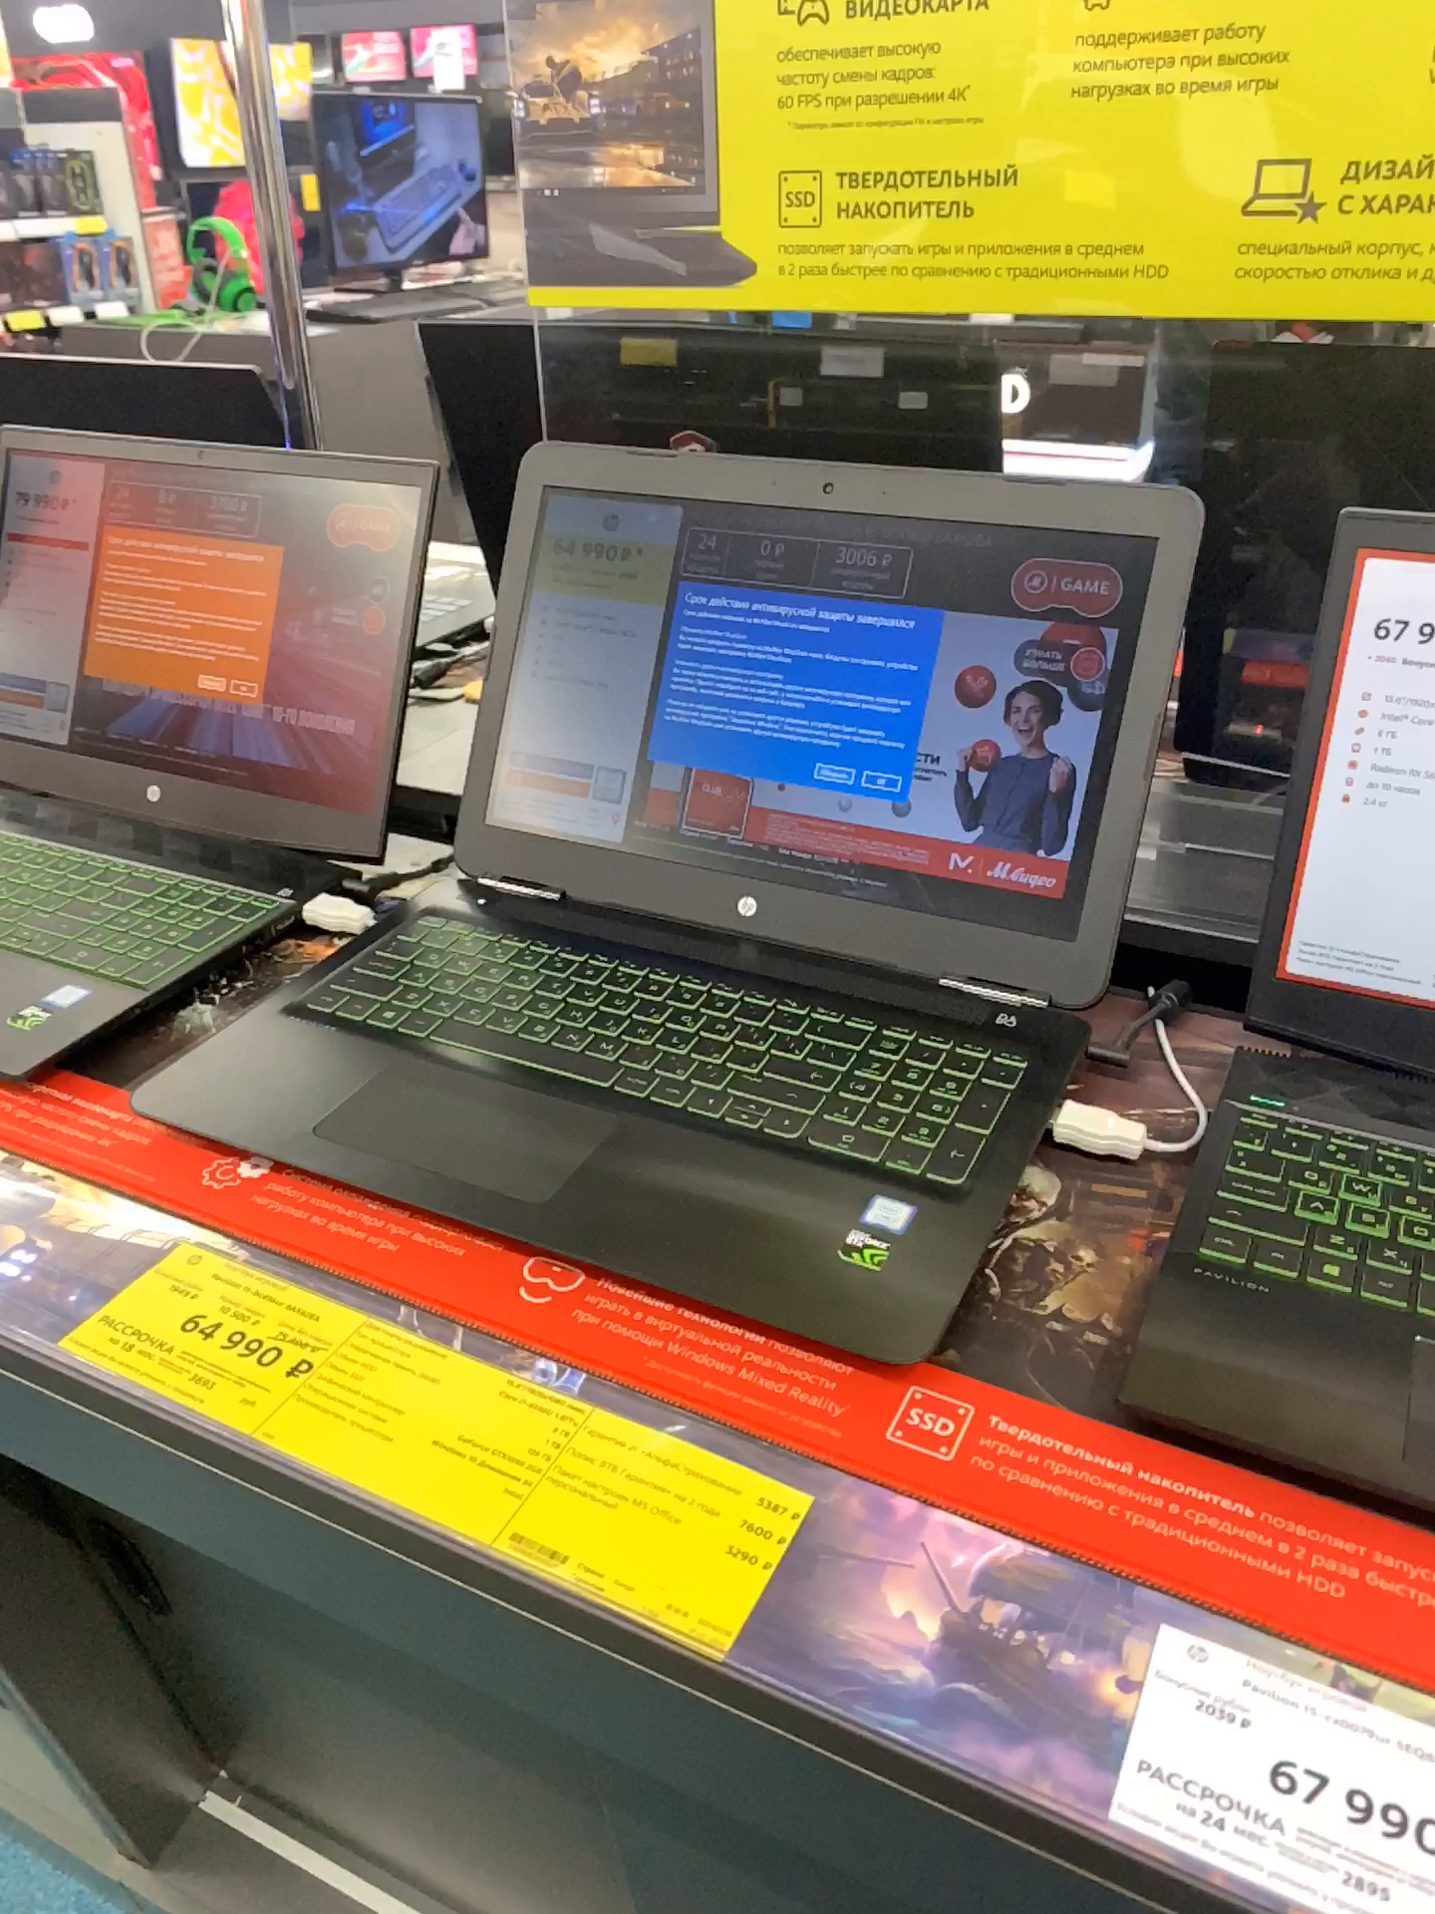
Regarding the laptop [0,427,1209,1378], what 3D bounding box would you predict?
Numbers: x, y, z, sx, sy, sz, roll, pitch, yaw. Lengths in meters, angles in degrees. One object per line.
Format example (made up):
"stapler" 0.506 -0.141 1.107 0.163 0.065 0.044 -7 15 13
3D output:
"laptop" -0.018 -0.081 0.681 0.384 0.223 0.380 13 32 23
